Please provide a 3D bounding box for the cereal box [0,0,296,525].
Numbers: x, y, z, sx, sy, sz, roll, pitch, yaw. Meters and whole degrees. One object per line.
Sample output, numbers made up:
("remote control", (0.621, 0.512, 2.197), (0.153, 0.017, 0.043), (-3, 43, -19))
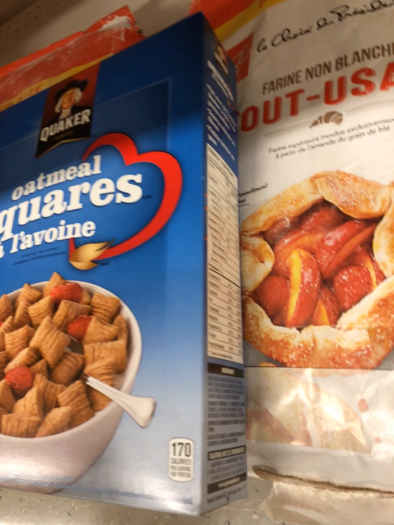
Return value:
("cereal box", (-0.054, -0.004, 0.289), (0.211, 0.060, 0.280), (-10, 67, 29))
